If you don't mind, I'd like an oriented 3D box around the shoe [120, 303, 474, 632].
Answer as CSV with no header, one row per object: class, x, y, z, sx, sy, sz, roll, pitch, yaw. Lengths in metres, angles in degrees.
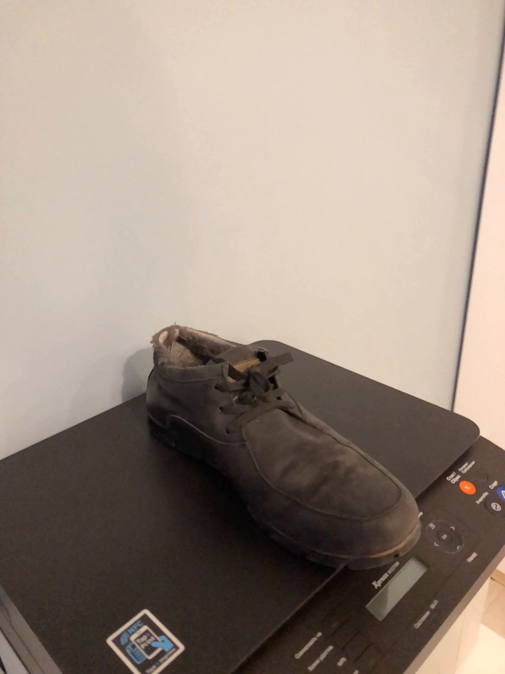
shoe,0.015,0.075,0.455,0.110,0.109,0.281,-21,32,-35
